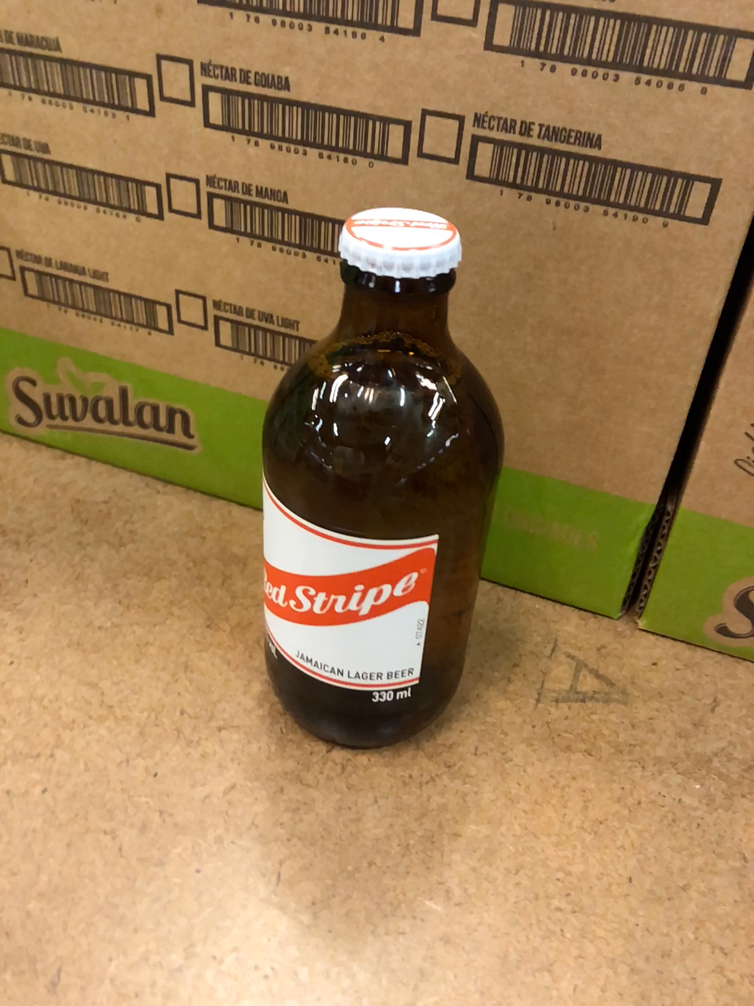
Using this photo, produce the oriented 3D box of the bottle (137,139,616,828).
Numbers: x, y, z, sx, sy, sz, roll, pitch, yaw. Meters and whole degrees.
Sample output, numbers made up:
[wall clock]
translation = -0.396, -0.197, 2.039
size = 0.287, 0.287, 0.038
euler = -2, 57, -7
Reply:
[bottle]
translation = -0.004, -0.003, 0.234
size = 0.080, 0.159, 0.070
euler = 27, 43, 27
